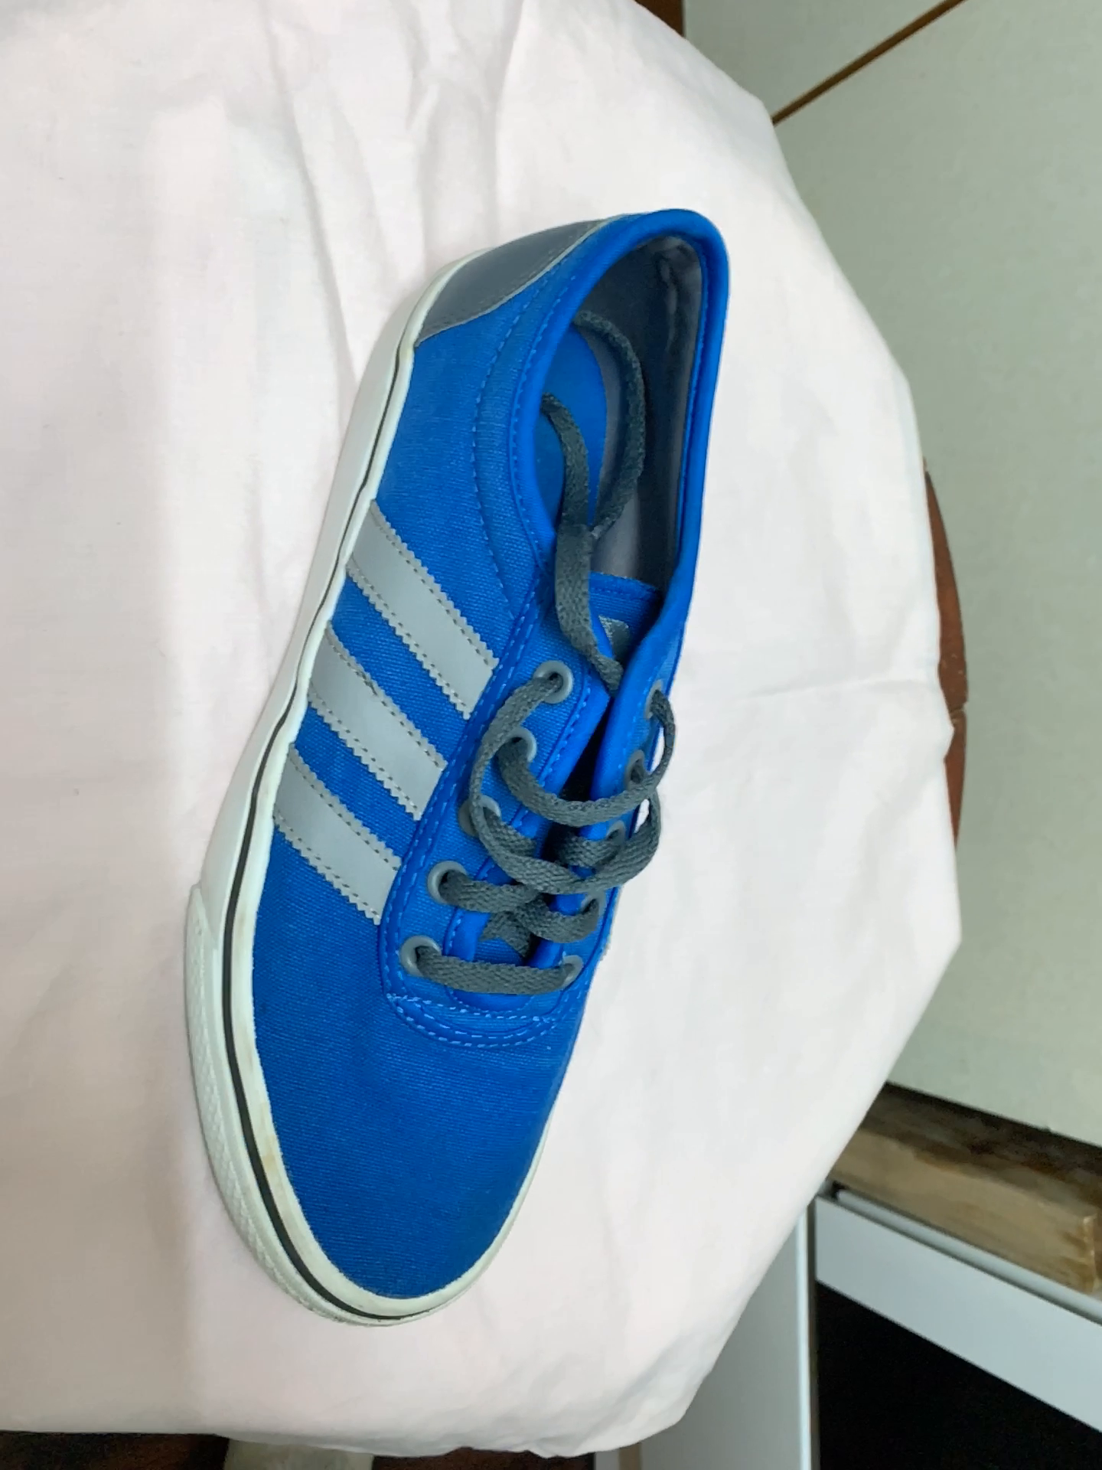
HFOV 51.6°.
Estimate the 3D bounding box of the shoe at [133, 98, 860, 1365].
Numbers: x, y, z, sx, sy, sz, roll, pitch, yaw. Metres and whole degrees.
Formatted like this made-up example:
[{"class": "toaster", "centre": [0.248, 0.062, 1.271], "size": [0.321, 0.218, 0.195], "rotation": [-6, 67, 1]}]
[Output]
[{"class": "shoe", "centre": [-0.012, 0.002, 0.270], "size": [0.100, 0.090, 0.234], "rotation": [15, 81, -32]}]
